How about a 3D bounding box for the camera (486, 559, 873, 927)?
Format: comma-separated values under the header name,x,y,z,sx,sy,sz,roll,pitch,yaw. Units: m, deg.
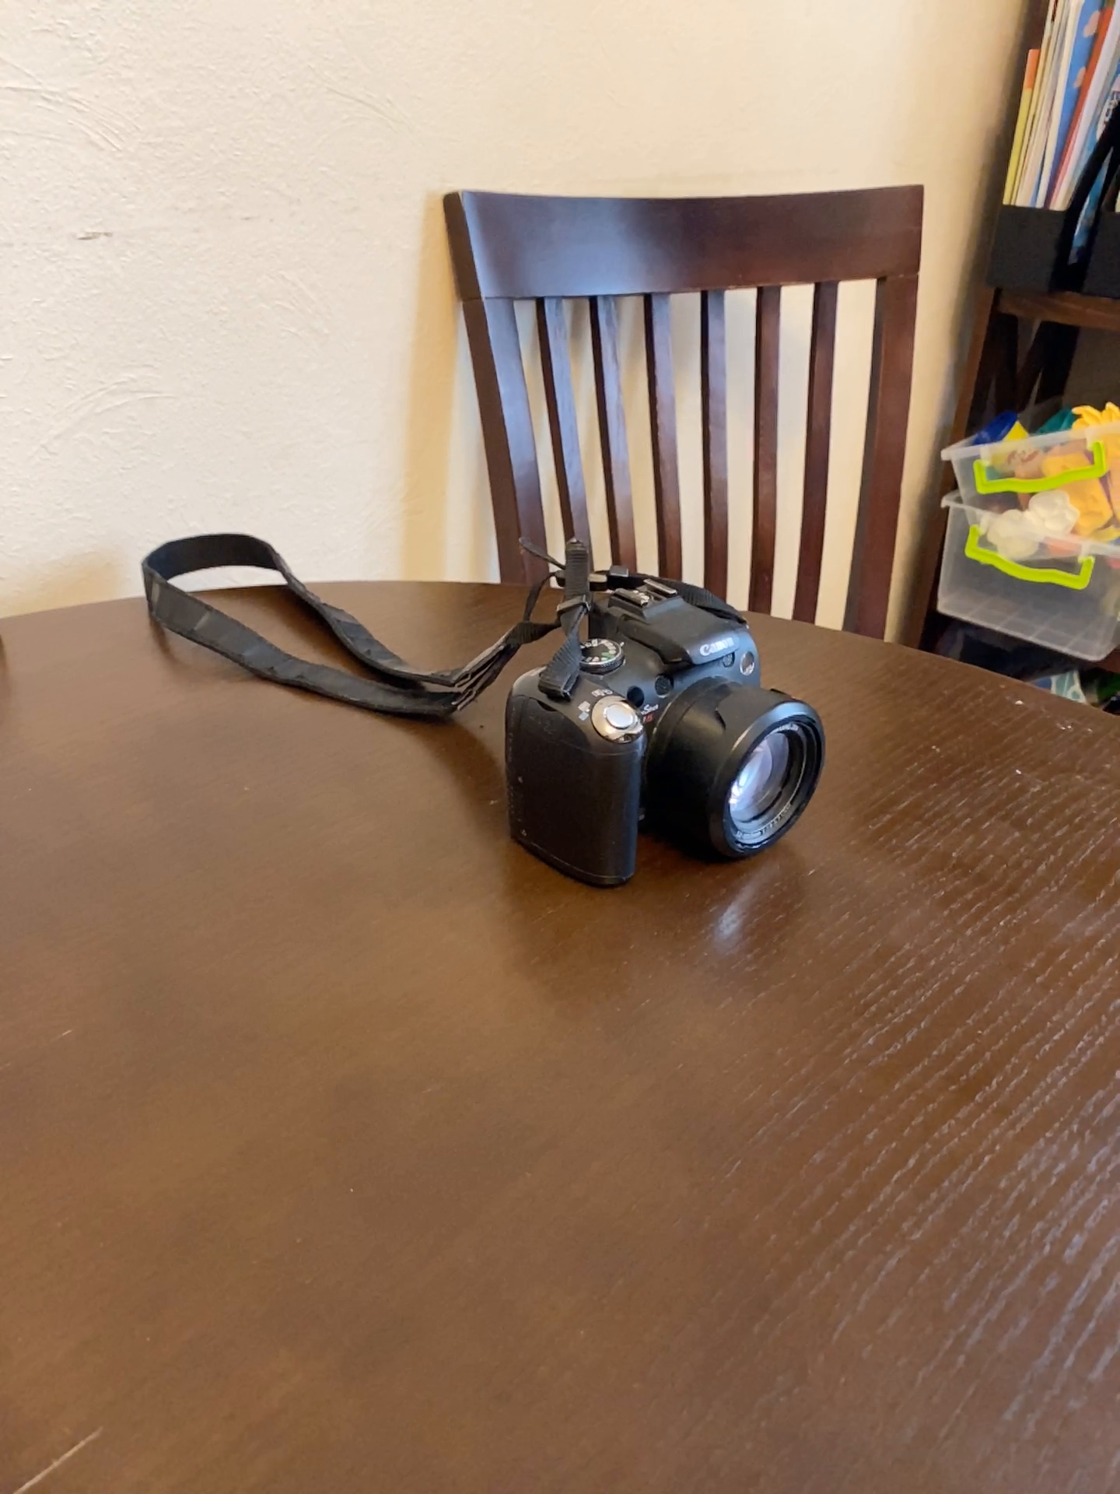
name,x,y,z,sx,sy,sz,roll,pitch,yaw
camera,0.045,-0.008,0.452,0.123,0.088,0.082,-21,37,-36
